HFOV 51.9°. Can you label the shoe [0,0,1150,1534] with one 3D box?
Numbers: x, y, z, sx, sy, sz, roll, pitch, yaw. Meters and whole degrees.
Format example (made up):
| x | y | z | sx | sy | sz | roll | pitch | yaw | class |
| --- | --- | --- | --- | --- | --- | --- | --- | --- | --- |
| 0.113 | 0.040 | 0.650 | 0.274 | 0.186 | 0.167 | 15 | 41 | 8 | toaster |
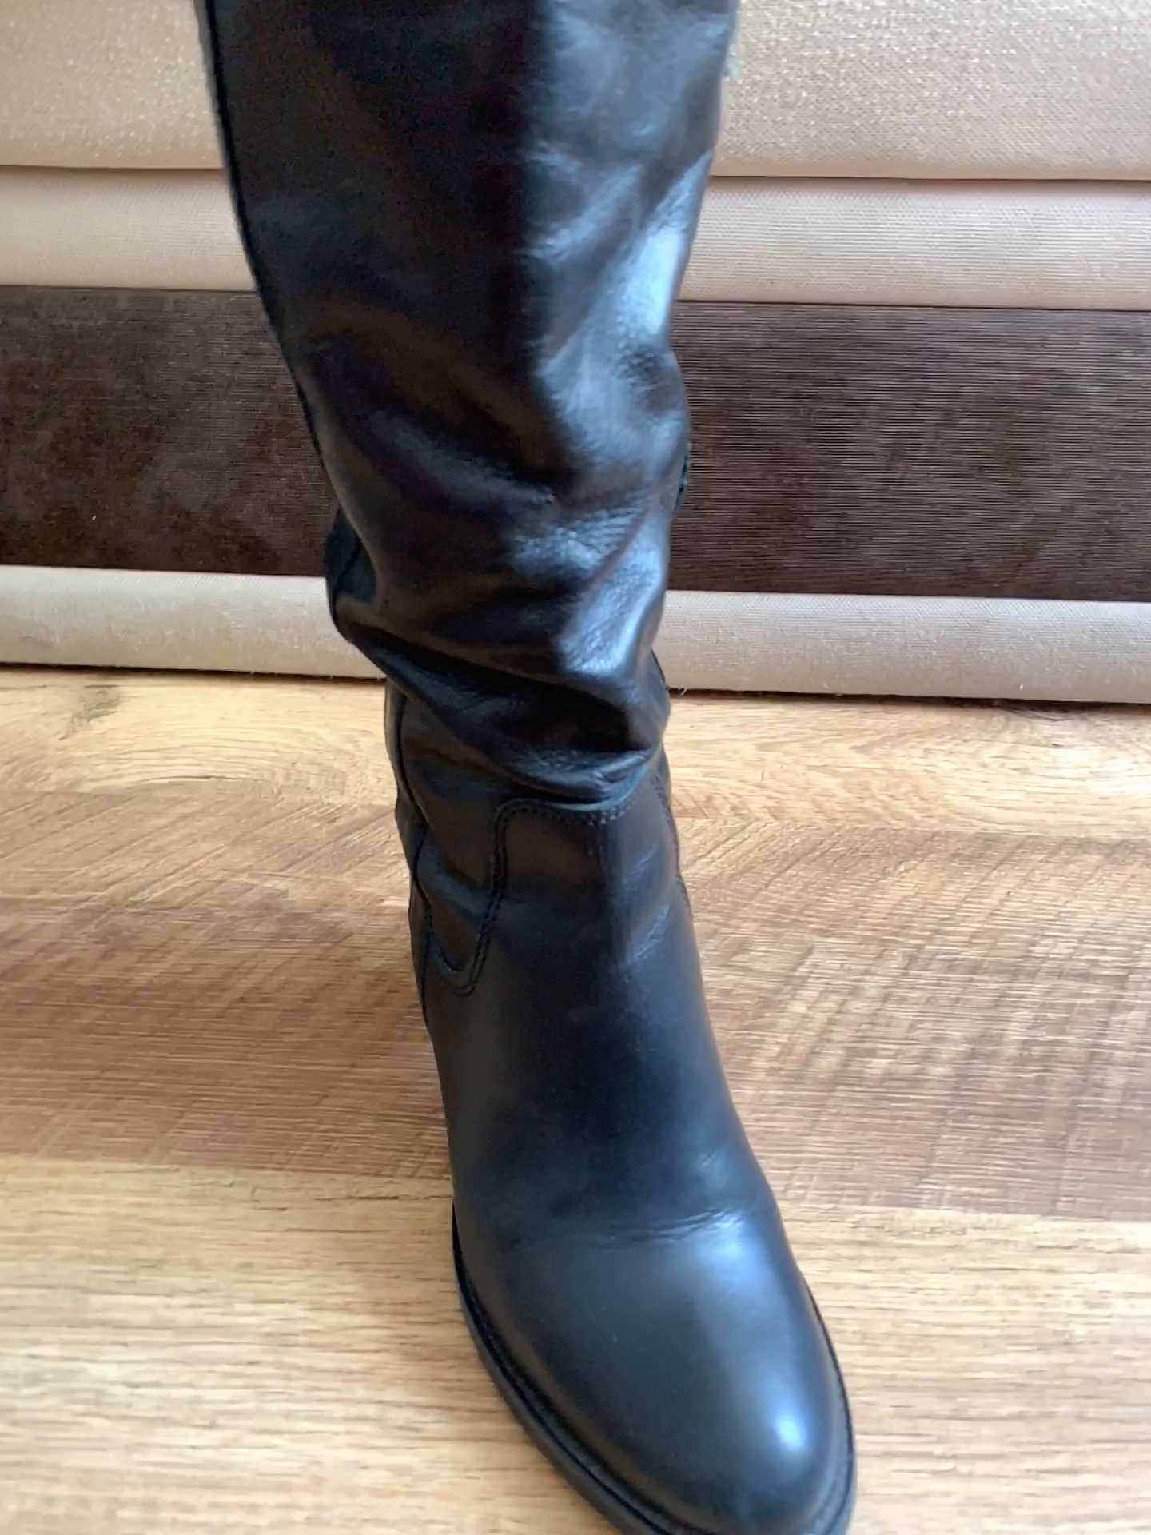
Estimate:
| x | y | z | sx | sy | sz | roll | pitch | yaw | class |
| --- | --- | --- | --- | --- | --- | --- | --- | --- | --- |
| 0.019 | -0.086 | 0.196 | 0.100 | 0.497 | 0.211 | -11 | 35 | -18 | shoe |
